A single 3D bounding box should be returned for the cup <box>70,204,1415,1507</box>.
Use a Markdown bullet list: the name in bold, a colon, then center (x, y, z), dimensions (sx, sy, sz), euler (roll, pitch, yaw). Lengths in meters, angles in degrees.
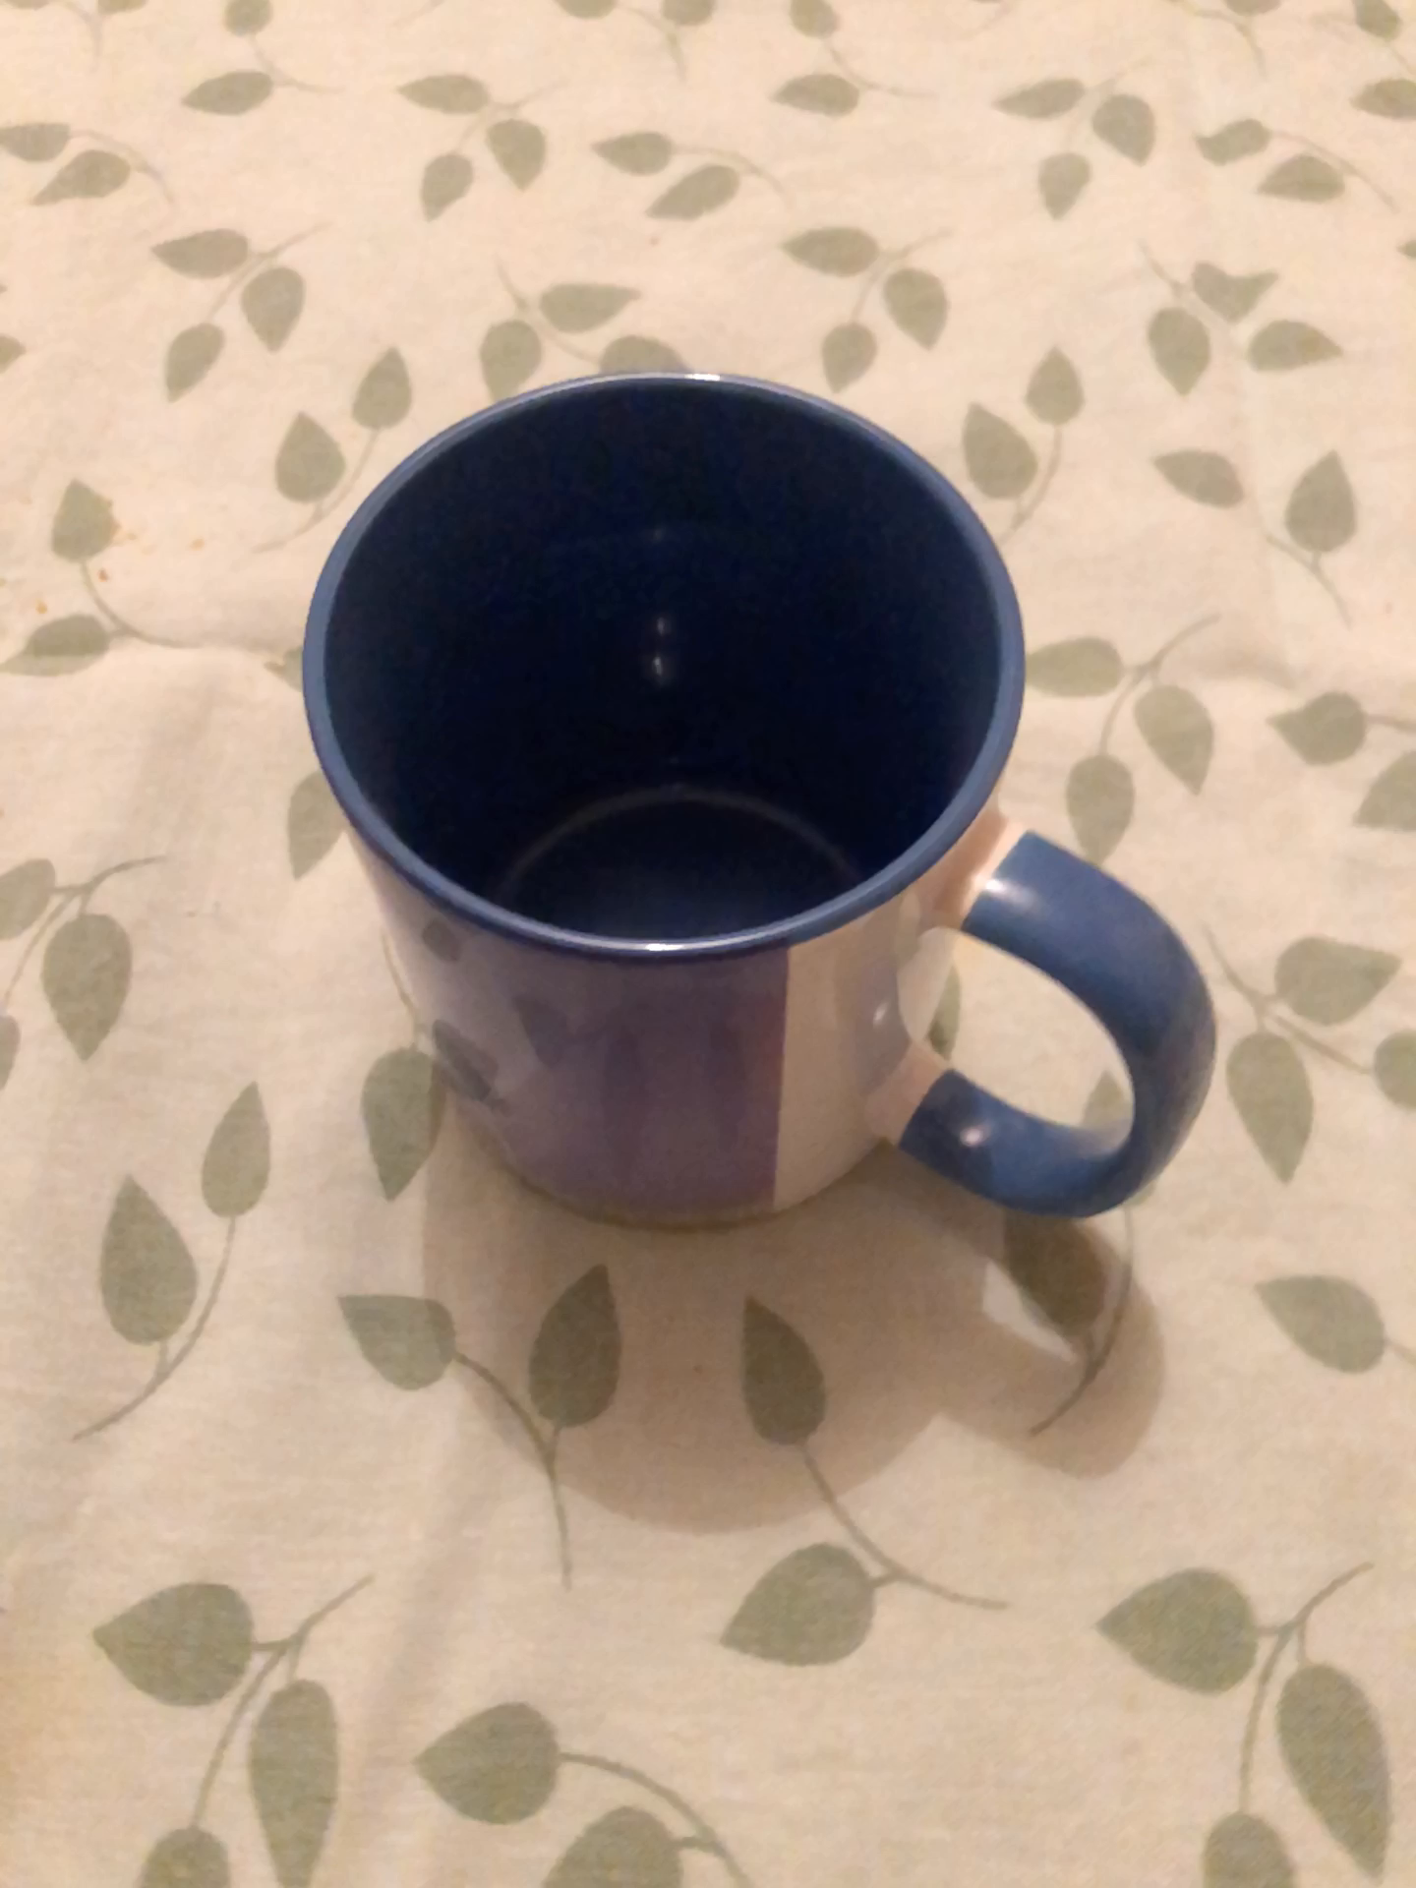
- **cup**: center (0.008, -0.007, 0.212), dimensions (0.120, 0.100, 0.090), euler (32, 67, 15)
